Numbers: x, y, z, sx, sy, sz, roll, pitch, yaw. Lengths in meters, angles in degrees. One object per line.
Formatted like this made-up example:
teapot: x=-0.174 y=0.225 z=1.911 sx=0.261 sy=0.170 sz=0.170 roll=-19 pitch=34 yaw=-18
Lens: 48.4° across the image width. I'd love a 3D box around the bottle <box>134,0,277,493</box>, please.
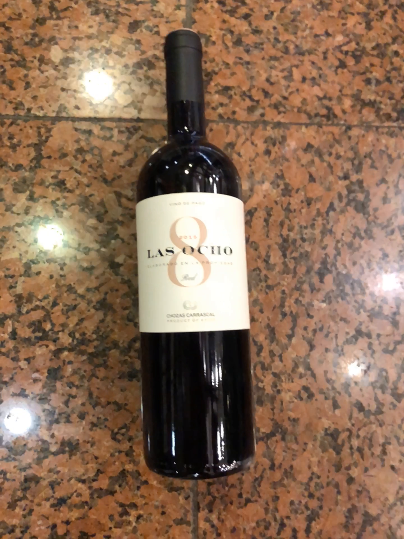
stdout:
bottle: x=-0.003 y=-0.034 z=0.322 sx=0.080 sy=0.070 sz=0.340 roll=-1 pitch=84 yaw=-6
